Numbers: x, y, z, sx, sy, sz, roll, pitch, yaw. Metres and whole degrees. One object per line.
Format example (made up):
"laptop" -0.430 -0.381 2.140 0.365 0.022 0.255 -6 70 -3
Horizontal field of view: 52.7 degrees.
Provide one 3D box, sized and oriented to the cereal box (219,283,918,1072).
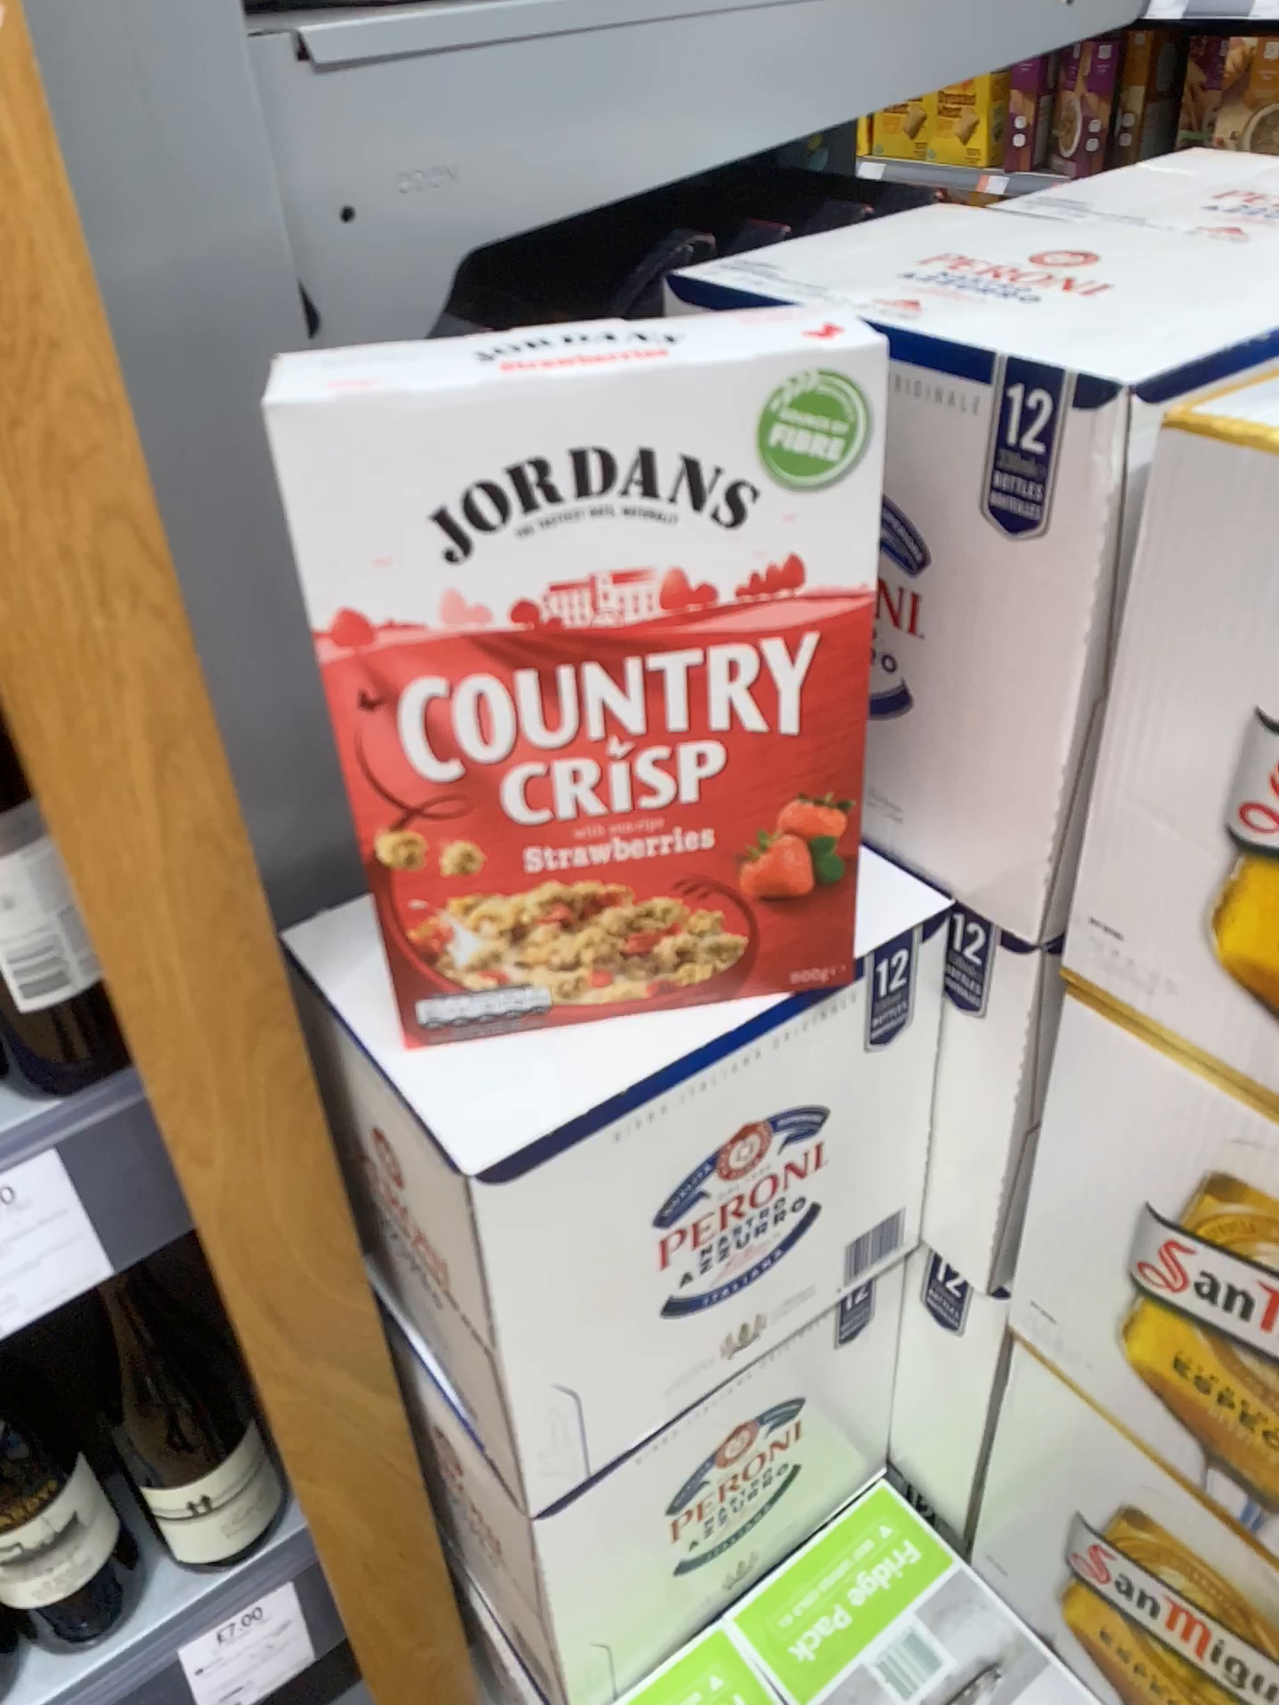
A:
"cereal box" -0.013 -0.047 0.439 0.190 0.247 0.051 -8 35 -5
